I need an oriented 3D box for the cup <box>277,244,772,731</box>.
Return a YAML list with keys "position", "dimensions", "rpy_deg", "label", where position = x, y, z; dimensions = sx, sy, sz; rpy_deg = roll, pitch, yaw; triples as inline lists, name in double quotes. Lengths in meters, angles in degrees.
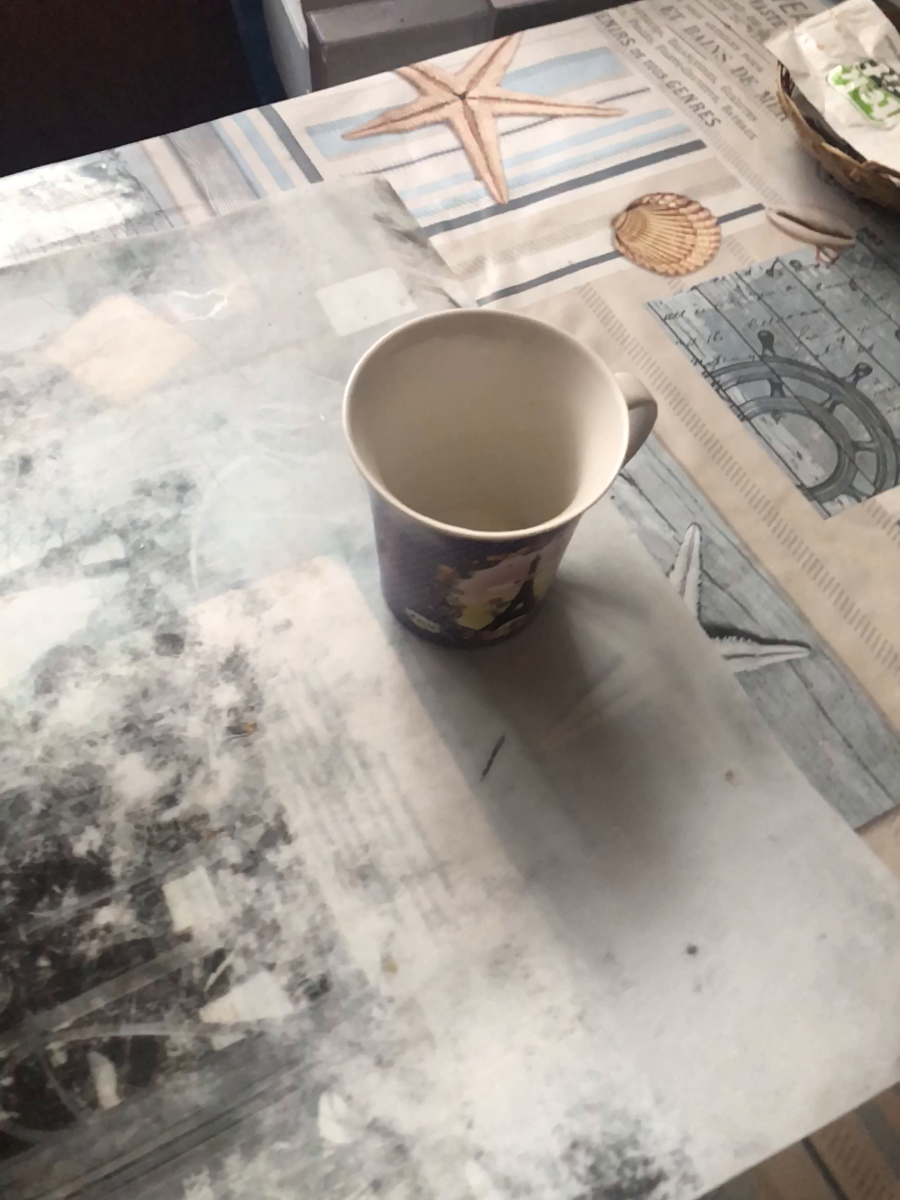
- position: [0.021, -0.038, 0.336]
  dimensions: [0.120, 0.085, 0.090]
  rpy_deg: [-31, 66, -19]
  label: "cup"
